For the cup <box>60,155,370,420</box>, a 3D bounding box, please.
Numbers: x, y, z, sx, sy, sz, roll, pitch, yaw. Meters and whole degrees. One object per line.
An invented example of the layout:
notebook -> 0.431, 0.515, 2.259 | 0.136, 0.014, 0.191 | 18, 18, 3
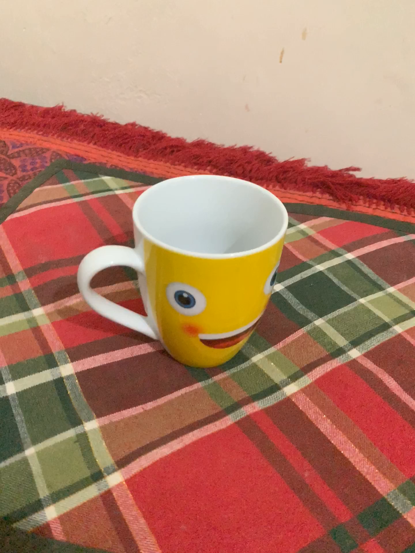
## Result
cup -> -0.002, 0.000, 0.222 | 0.120, 0.080, 0.080 | -13, 44, -19
